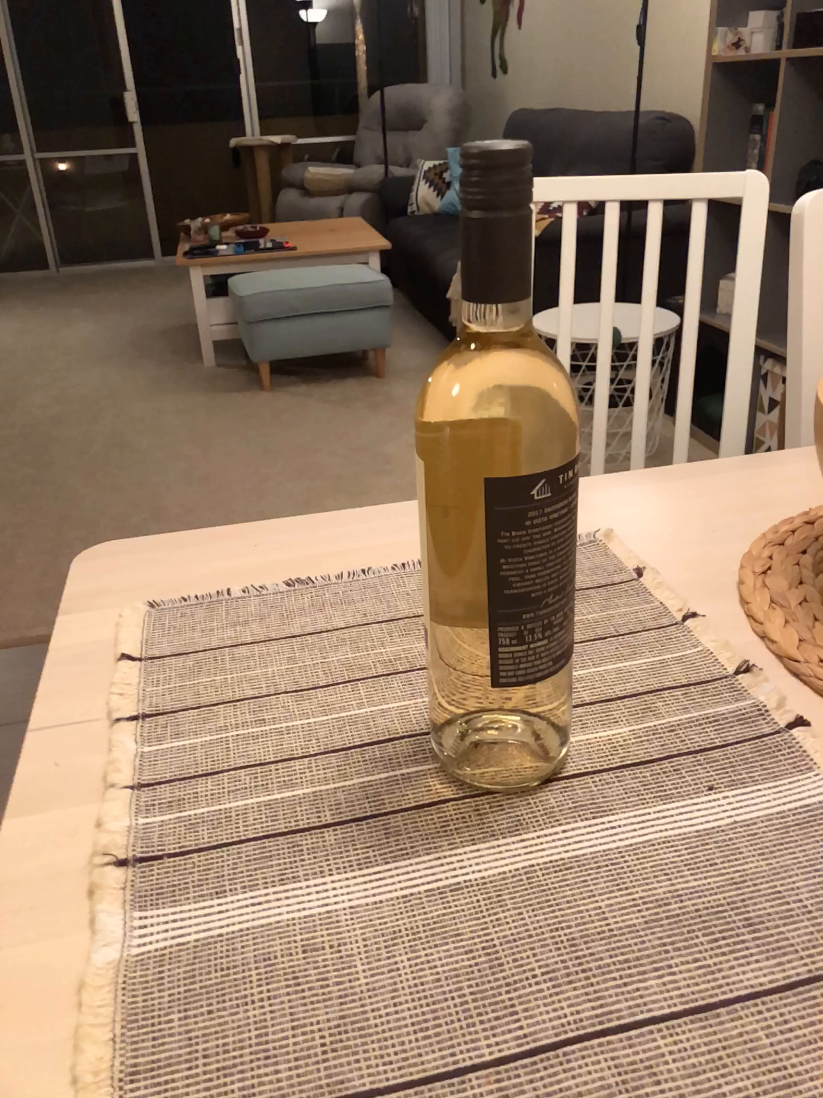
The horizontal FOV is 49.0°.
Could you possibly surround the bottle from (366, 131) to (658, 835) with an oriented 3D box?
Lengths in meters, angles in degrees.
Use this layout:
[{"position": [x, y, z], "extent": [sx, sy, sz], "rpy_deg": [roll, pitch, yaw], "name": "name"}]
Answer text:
[{"position": [0.045, -0.024, 0.413], "extent": [0.080, 0.298, 0.080], "rpy_deg": [-2, 26, 1], "name": "bottle"}]
